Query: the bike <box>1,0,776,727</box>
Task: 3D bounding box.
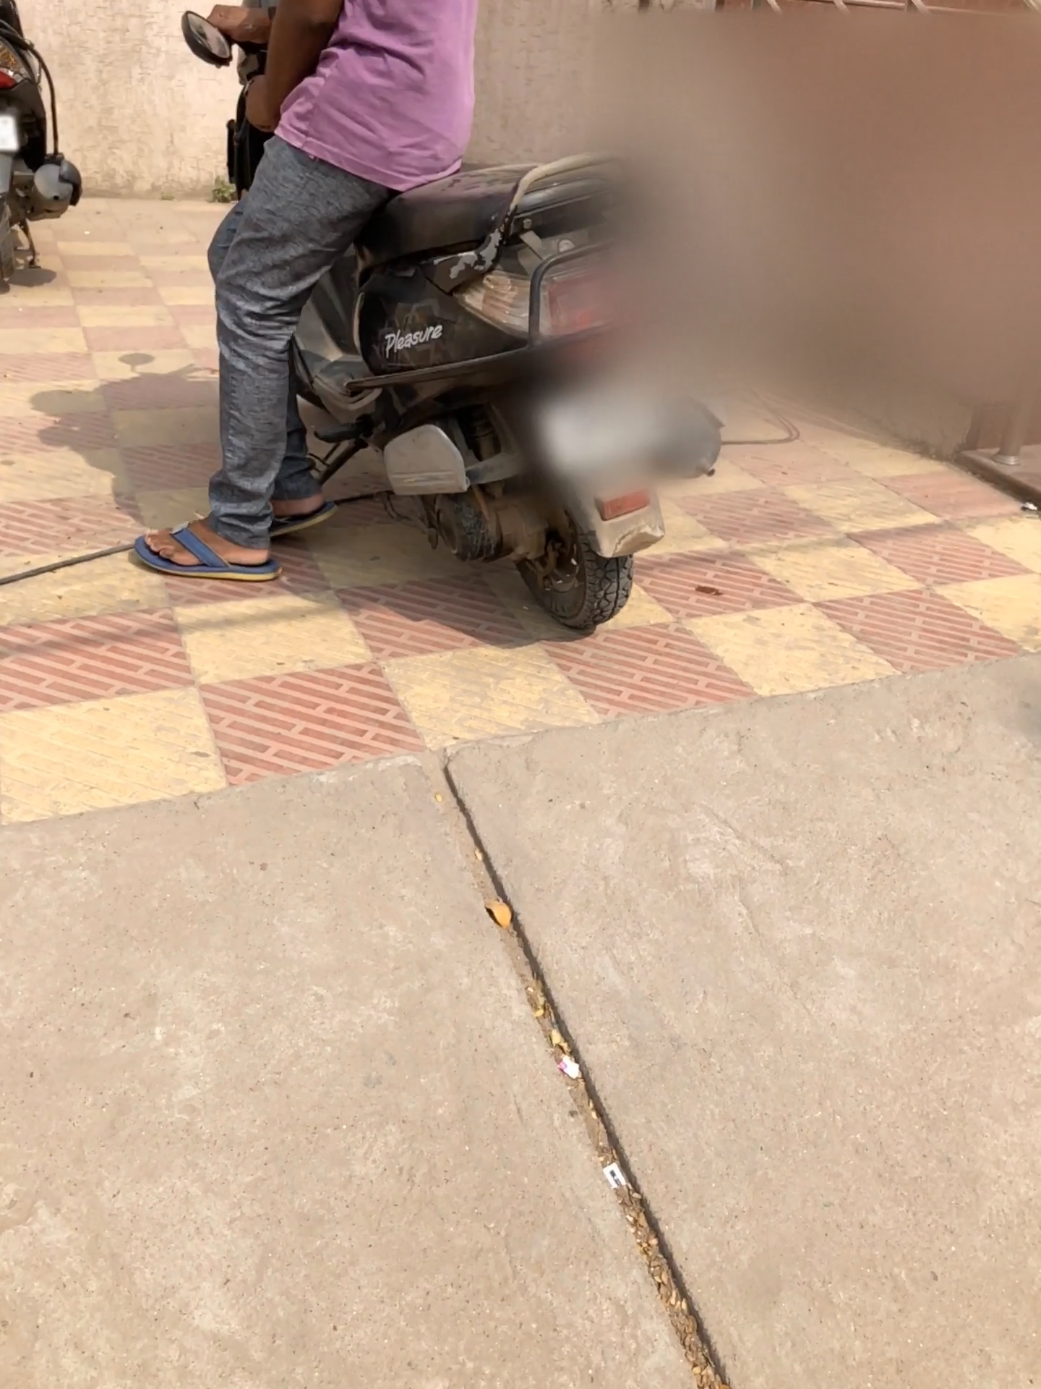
[{"bbox_3d":[-0.410,-0.859,2.254,0.638,1.116,1.597,-14,36,-29],"label":"bike"}]
